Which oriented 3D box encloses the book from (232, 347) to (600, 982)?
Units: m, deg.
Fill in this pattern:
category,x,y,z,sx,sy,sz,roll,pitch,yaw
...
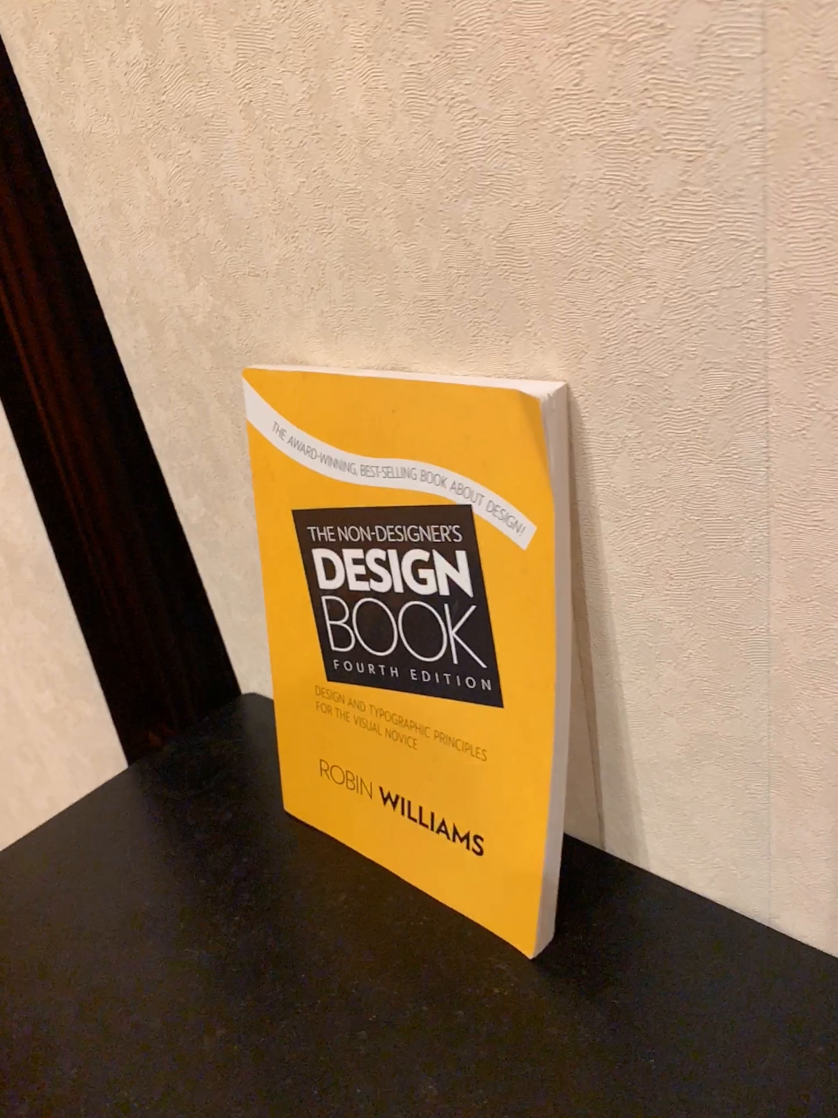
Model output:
category,x,y,z,sx,sy,sz,roll,pitch,yaw
book,-0.009,0.037,0.410,0.191,0.259,0.030,15,24,42
